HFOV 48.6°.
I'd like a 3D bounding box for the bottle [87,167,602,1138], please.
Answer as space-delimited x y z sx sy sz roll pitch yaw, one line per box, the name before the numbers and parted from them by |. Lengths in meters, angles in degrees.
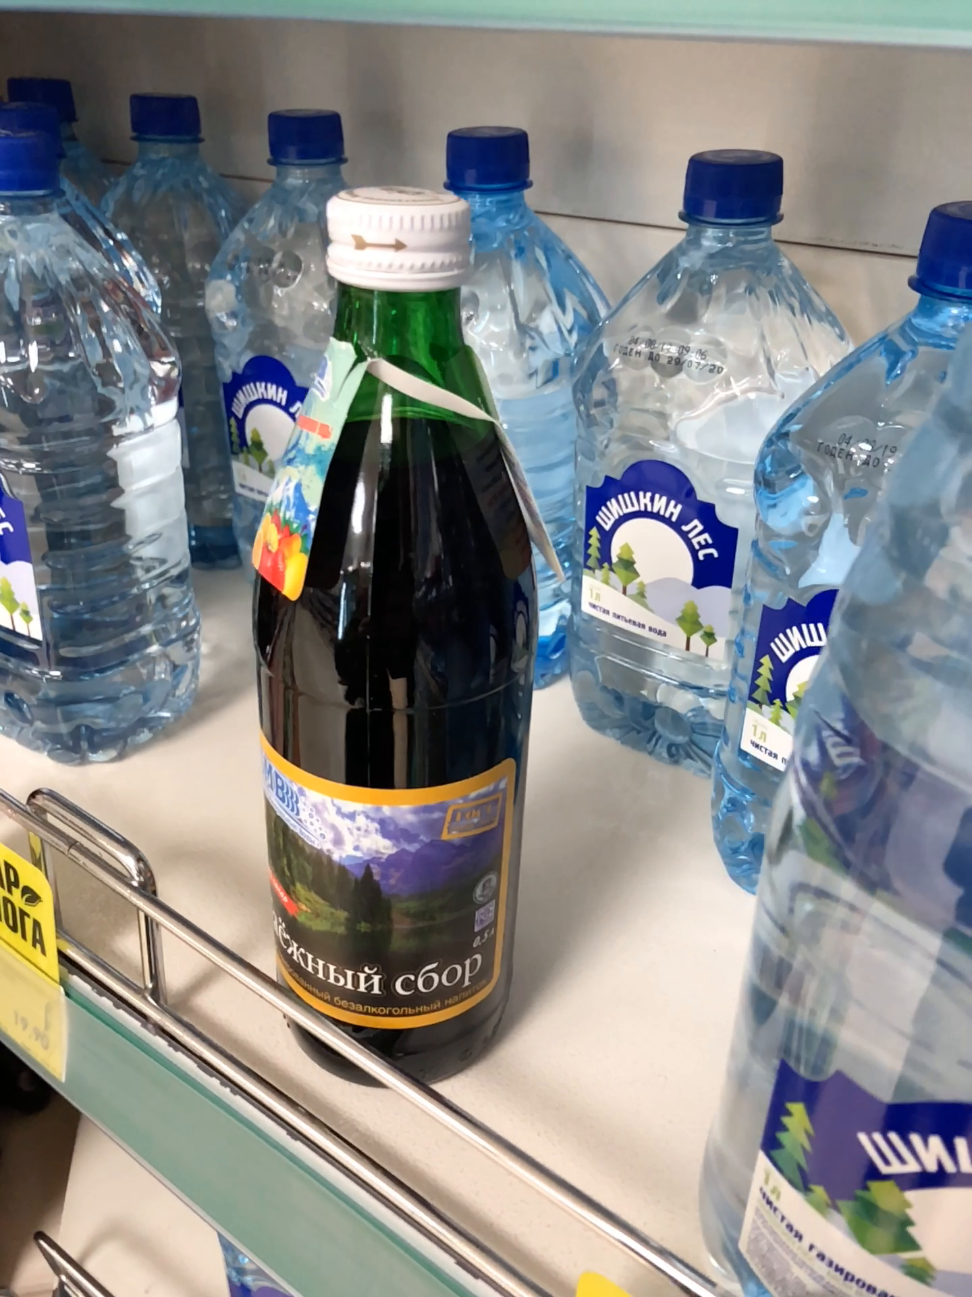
bottle | -0.027 0.006 0.266 0.075 0.219 0.068 21 36 32
